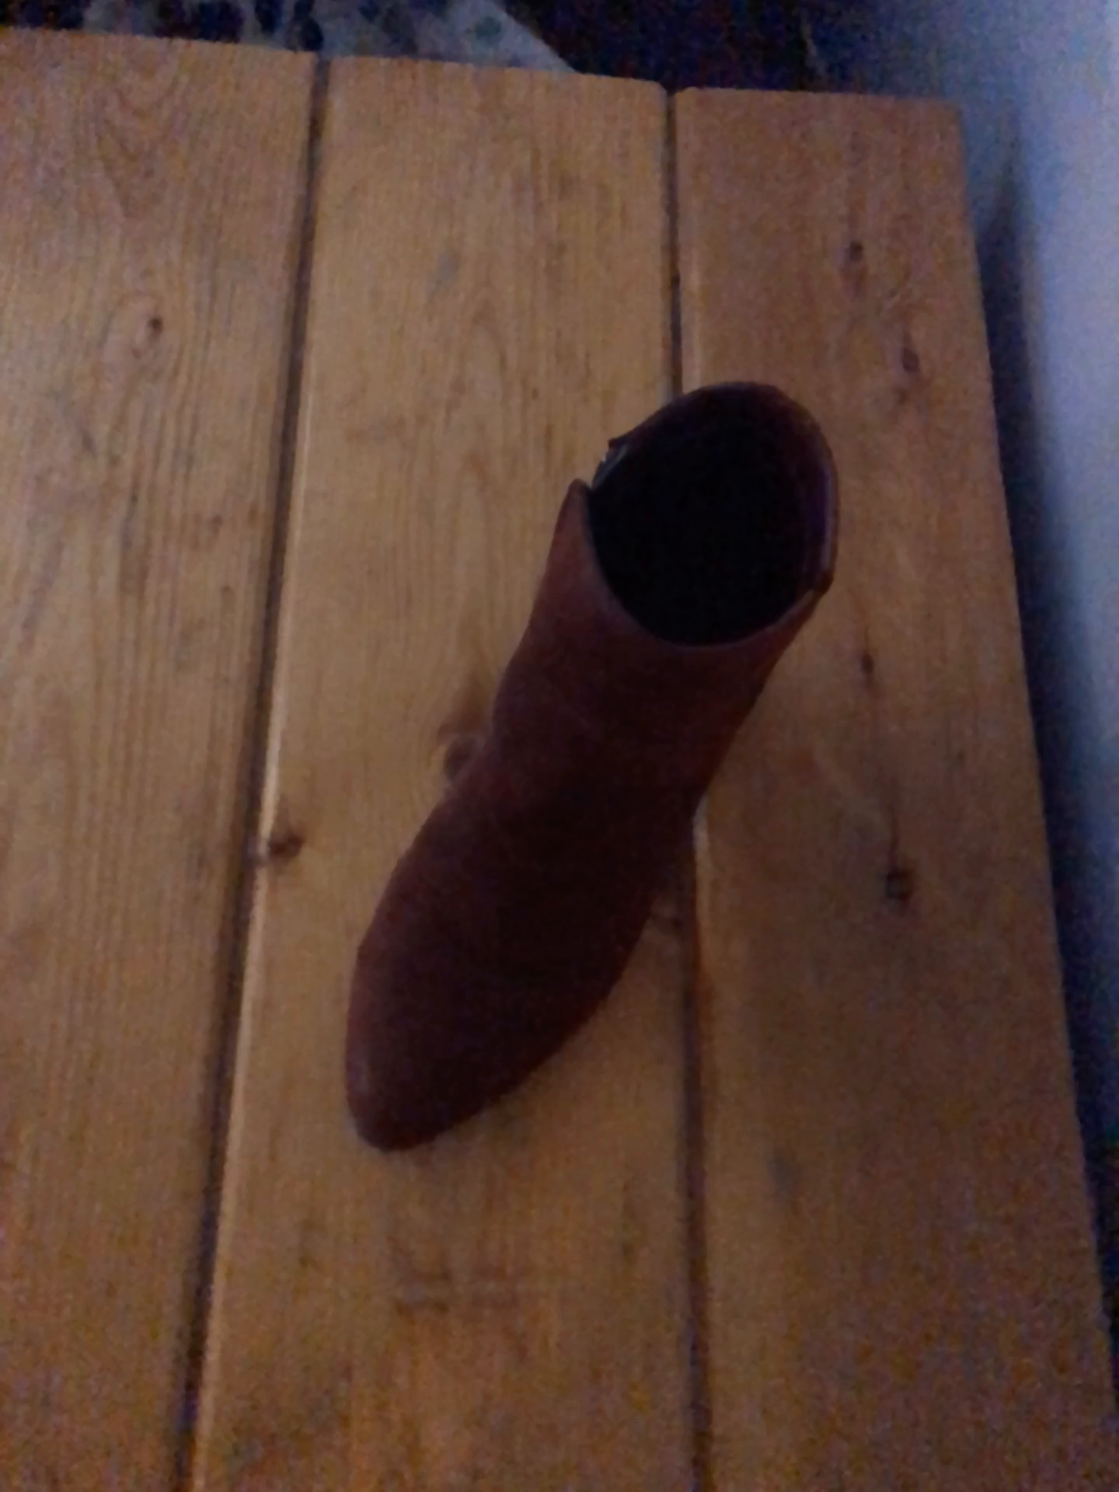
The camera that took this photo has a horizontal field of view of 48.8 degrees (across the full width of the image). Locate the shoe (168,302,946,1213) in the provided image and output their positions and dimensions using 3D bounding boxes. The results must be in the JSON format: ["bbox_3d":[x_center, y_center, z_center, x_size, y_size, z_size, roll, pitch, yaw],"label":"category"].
[{"bbox_3d":[0.005,0.012,0.400,0.090,0.150,0.250,31,71,7],"label":"shoe"}]
